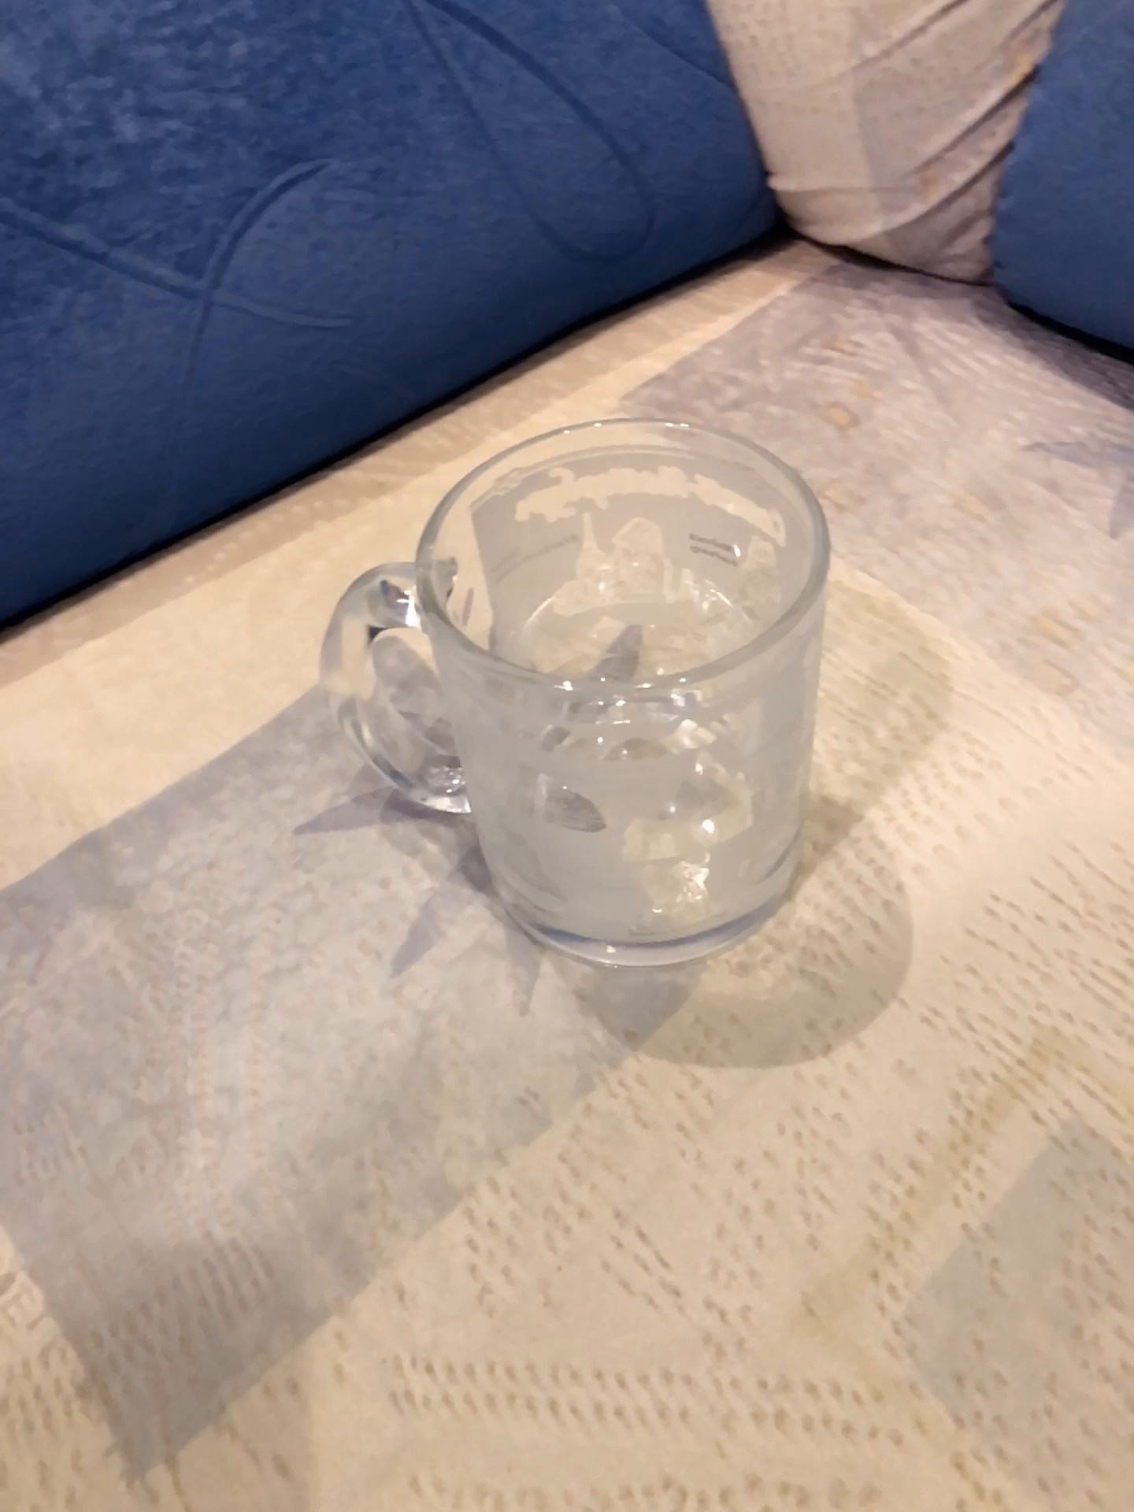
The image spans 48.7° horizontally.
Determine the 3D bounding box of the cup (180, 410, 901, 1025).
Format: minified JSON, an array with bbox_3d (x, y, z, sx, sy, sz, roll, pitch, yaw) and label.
[{"bbox_3d":[0.003,-0.011,0.267,0.120,0.079,0.091,6,49,12],"label":"cup"}]
